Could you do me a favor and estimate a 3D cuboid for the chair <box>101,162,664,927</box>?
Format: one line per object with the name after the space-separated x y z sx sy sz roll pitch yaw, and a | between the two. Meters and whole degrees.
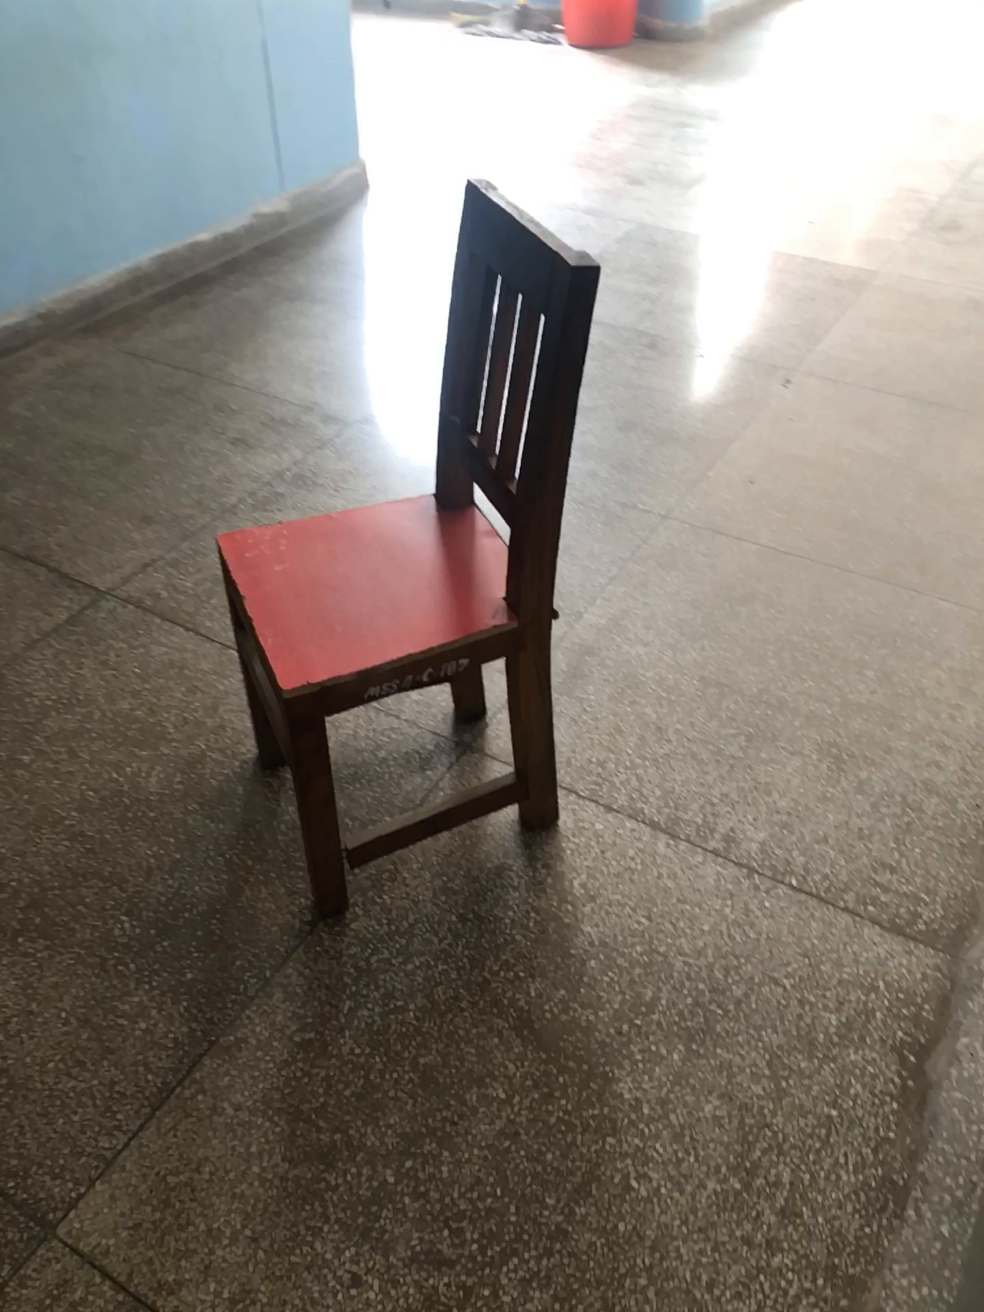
-0.137 -0.125 1.412 0.480 0.817 0.401 -17 45 -19 | chair
